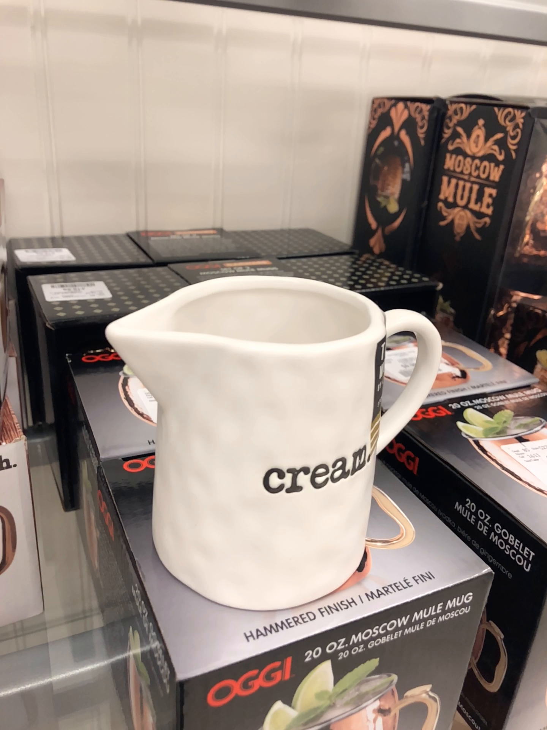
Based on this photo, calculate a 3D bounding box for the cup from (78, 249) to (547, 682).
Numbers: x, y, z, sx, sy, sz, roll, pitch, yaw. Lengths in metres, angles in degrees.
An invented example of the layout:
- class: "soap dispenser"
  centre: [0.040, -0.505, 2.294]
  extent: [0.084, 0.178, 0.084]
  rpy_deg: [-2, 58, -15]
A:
- class: "cup"
  centre: [0.015, 0.016, 0.184]
  extent: [0.125, 0.080, 0.063]
  rpy_deg: [-11, 28, -30]
